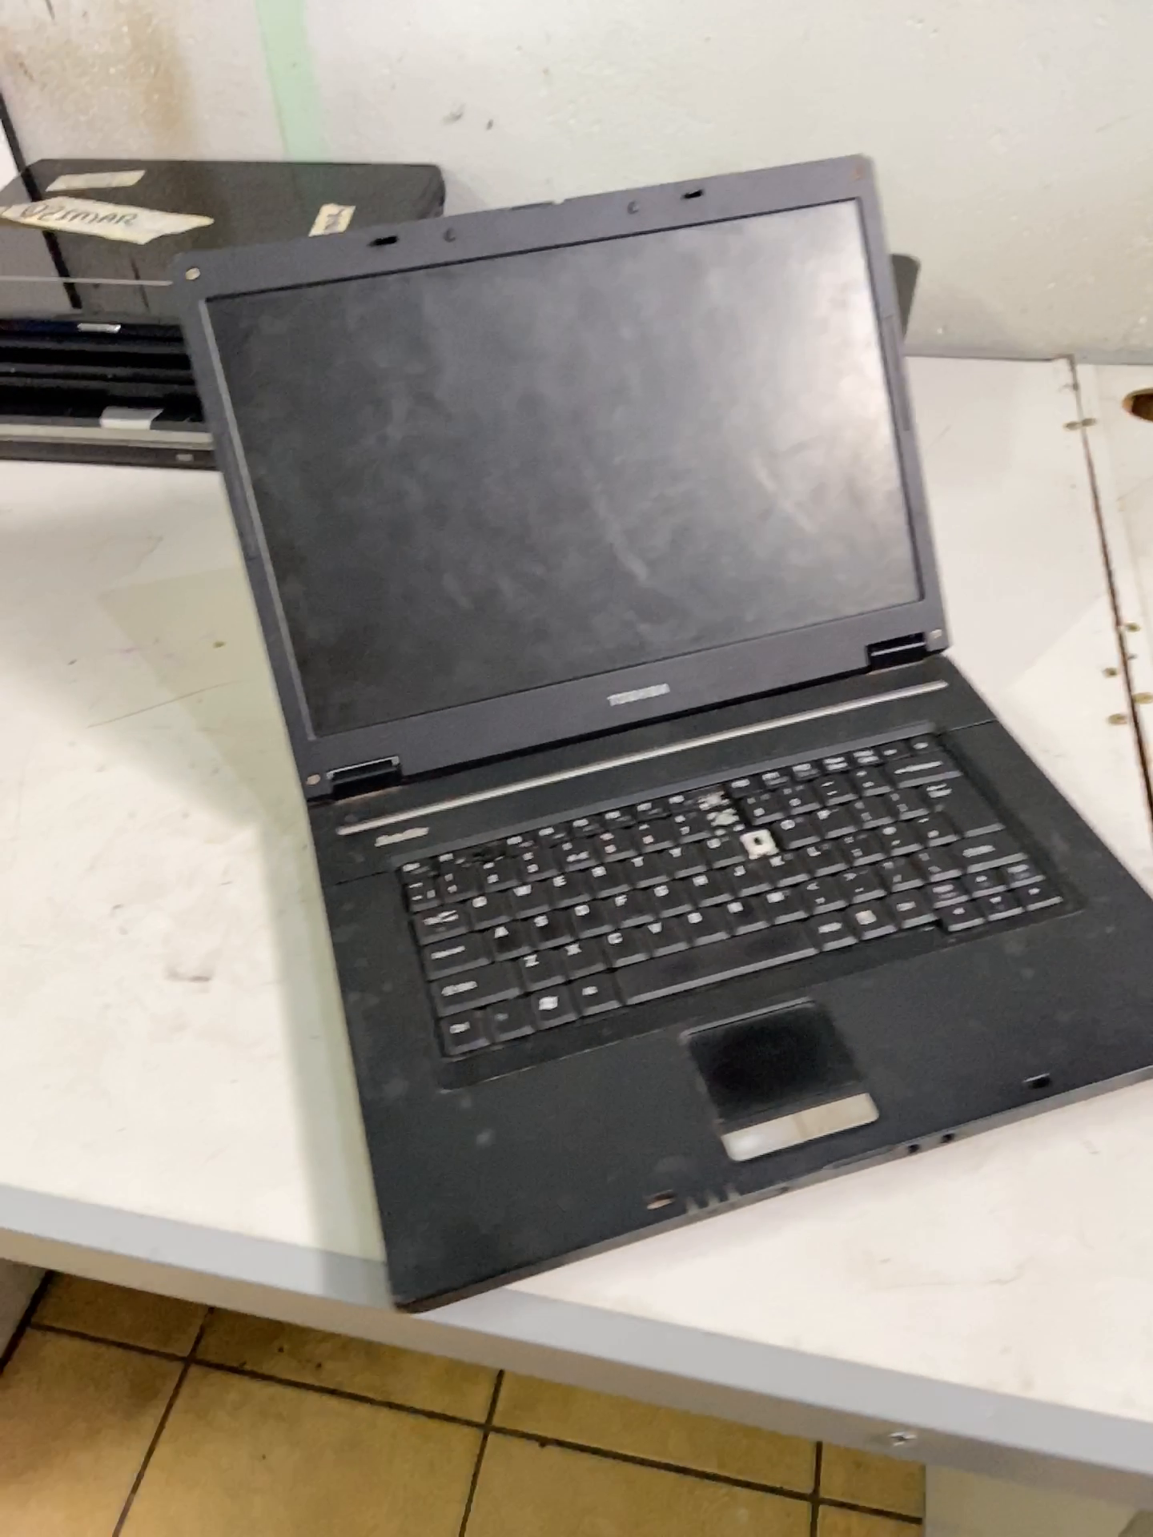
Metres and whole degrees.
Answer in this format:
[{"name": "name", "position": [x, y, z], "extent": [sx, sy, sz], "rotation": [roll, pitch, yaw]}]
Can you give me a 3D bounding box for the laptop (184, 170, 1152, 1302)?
[{"name": "laptop", "position": [0.047, -0.061, 0.516], "extent": [0.356, 0.212, 0.404], "rotation": [-14, 45, -9]}]
